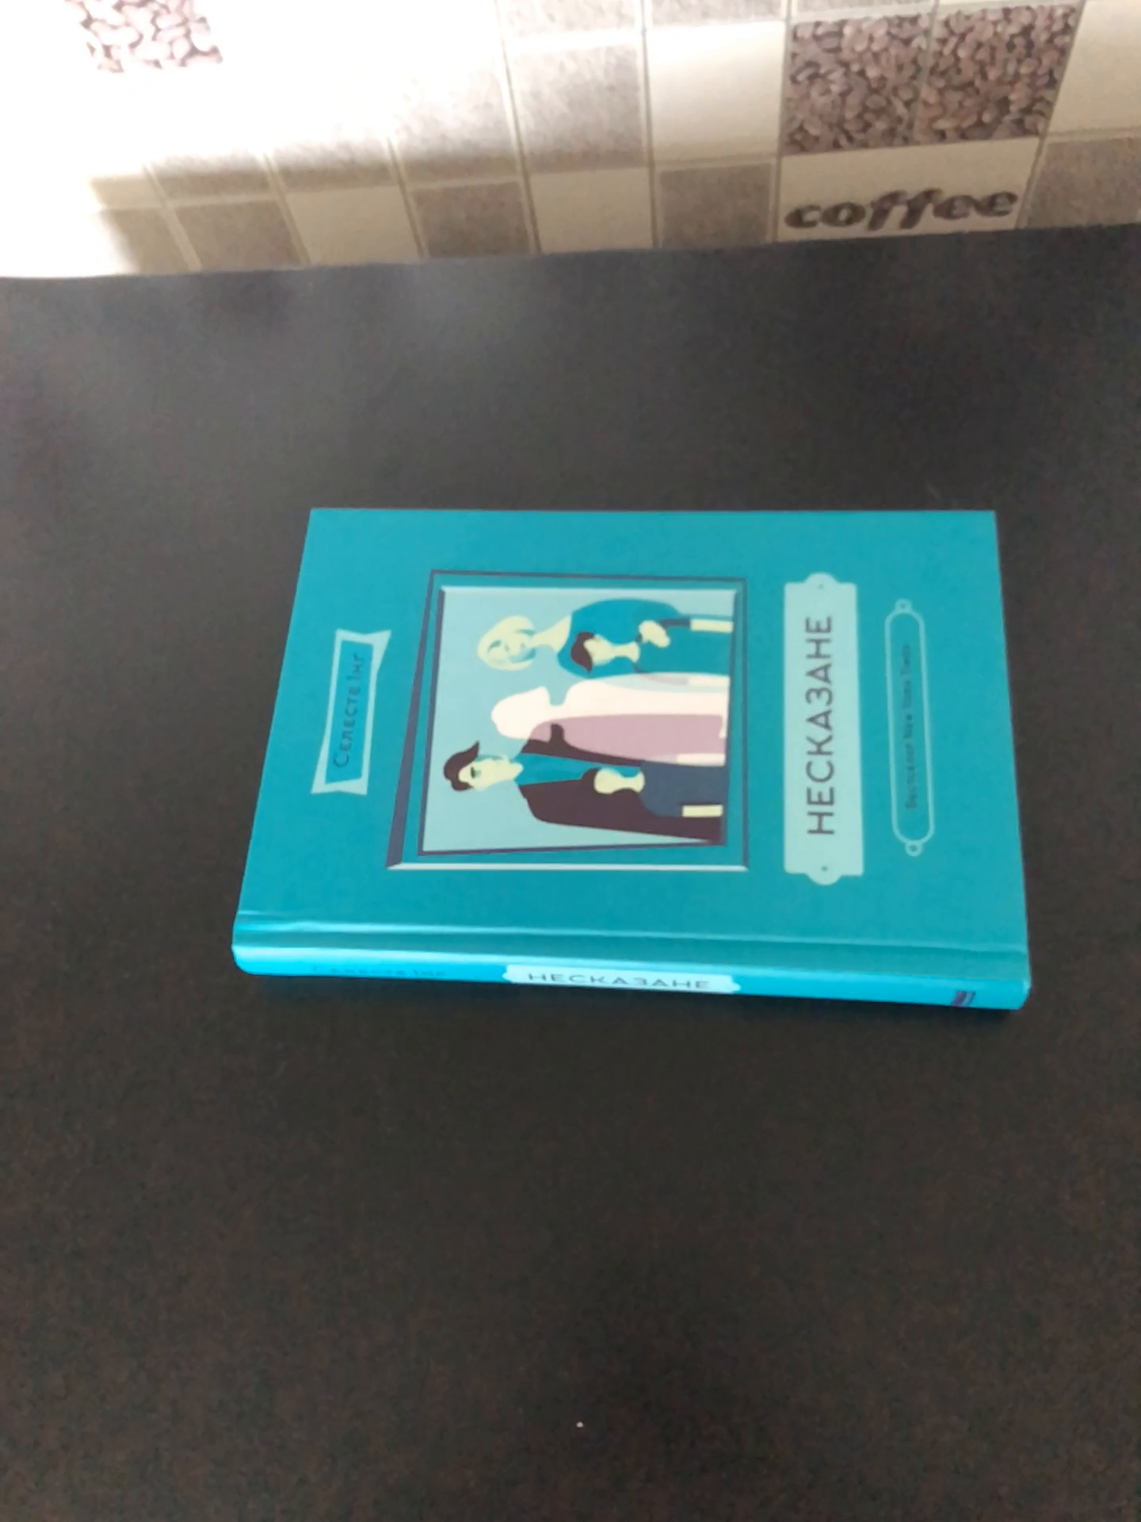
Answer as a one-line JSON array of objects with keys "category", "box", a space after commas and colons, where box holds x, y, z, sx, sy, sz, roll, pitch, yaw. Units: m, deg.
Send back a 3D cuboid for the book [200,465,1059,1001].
[{"category": "book", "box": [0.017, -0.013, 0.367, 0.220, 0.030, 0.151, 1, 67, 7]}]
